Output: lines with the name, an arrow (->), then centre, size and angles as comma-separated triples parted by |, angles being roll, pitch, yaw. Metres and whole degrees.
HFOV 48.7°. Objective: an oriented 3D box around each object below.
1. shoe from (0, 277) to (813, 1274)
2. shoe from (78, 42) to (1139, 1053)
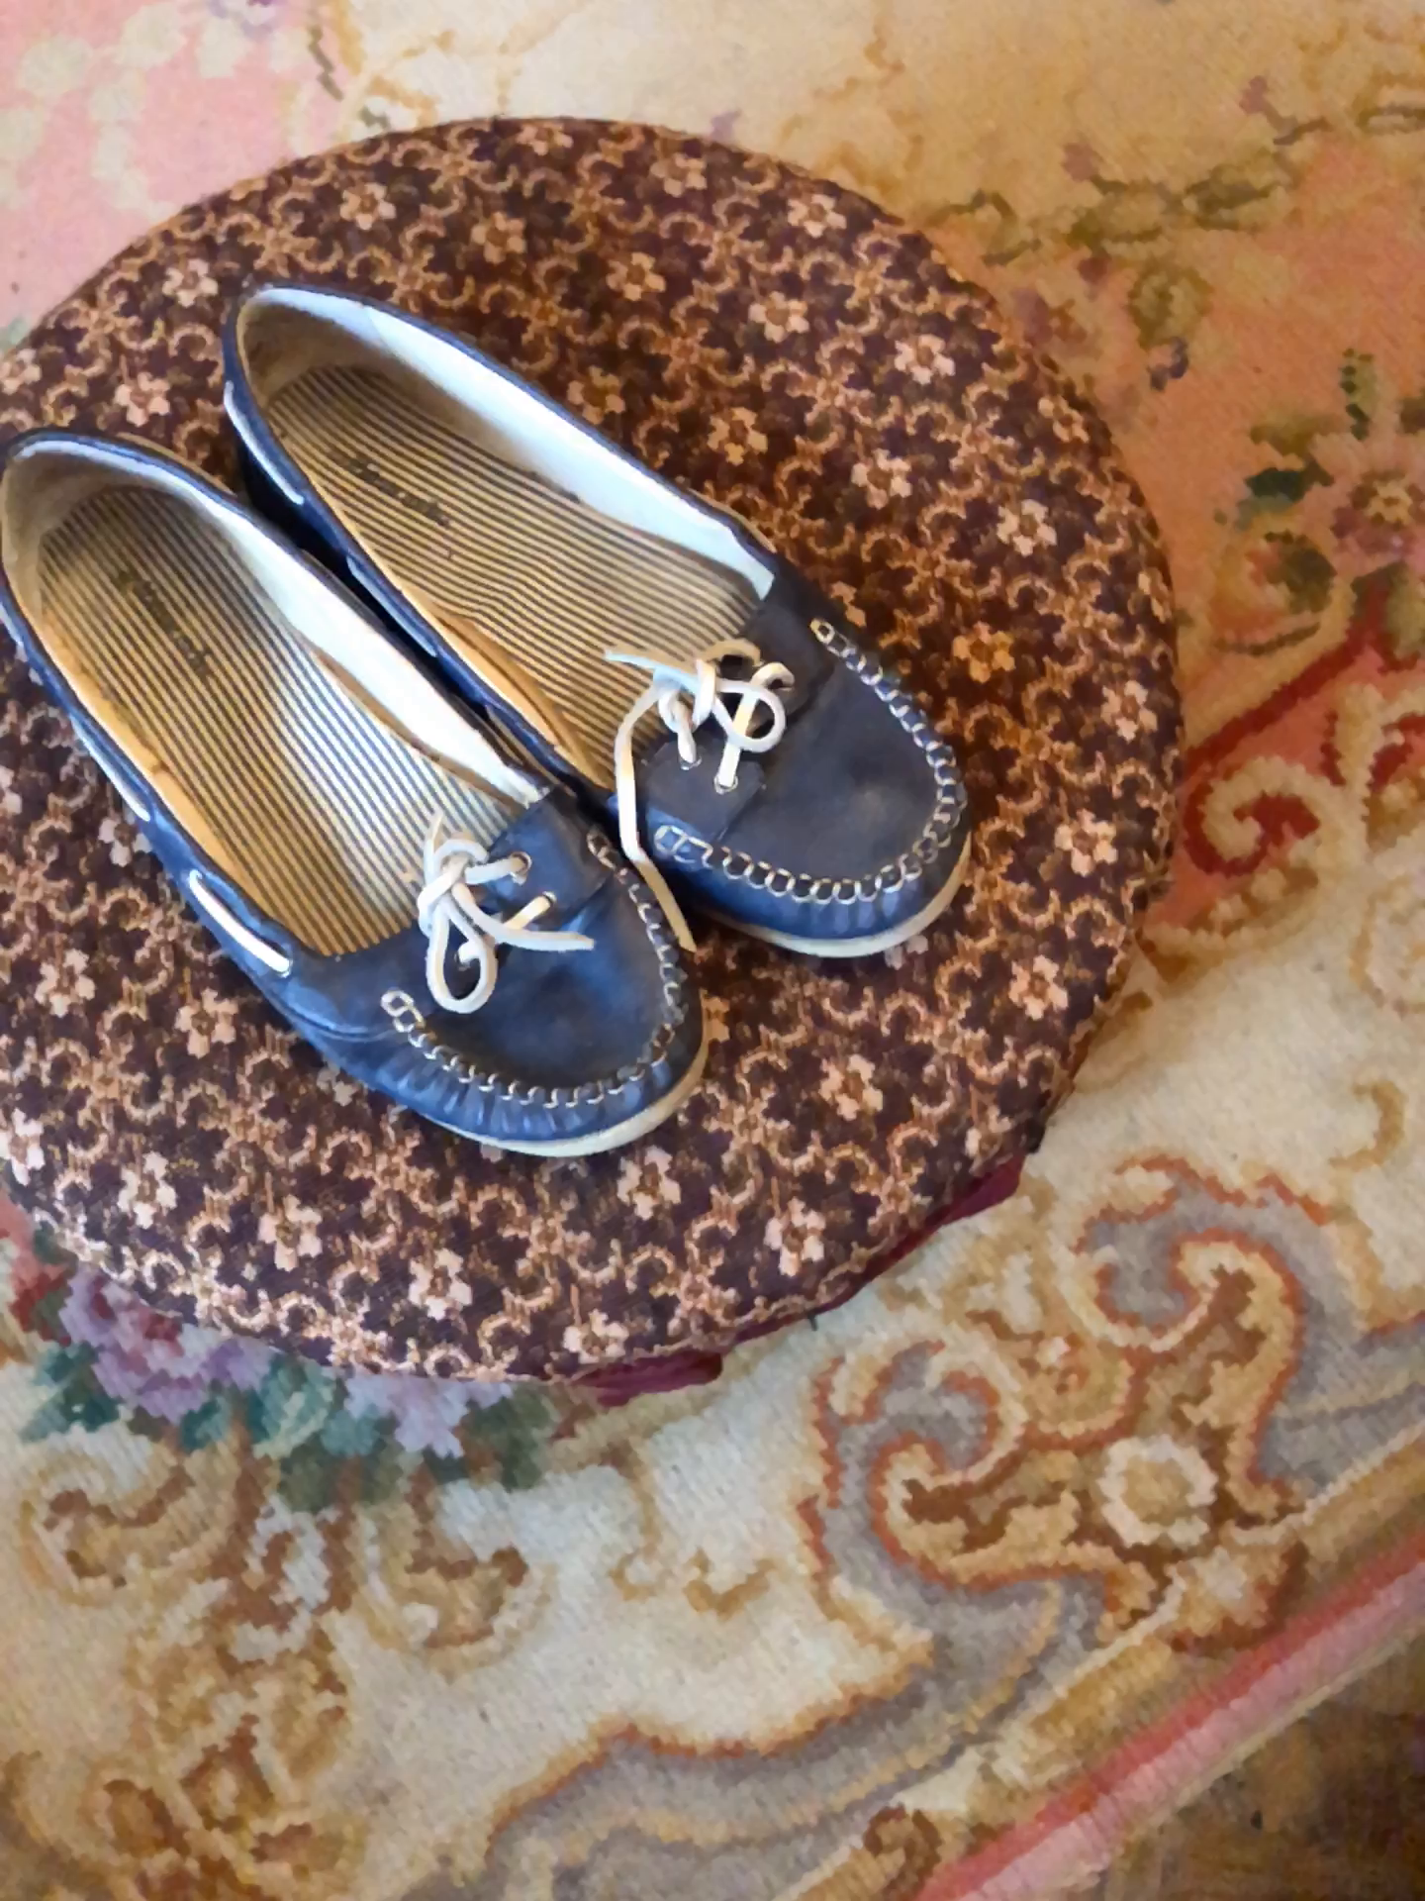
shoe -> -0.098, -0.041, 0.407 | 0.090, 0.100, 0.250 | -44, 75, -2
shoe -> -0.028, -0.098, 0.404 | 0.250, 0.090, 0.090 | 42, 81, 9
